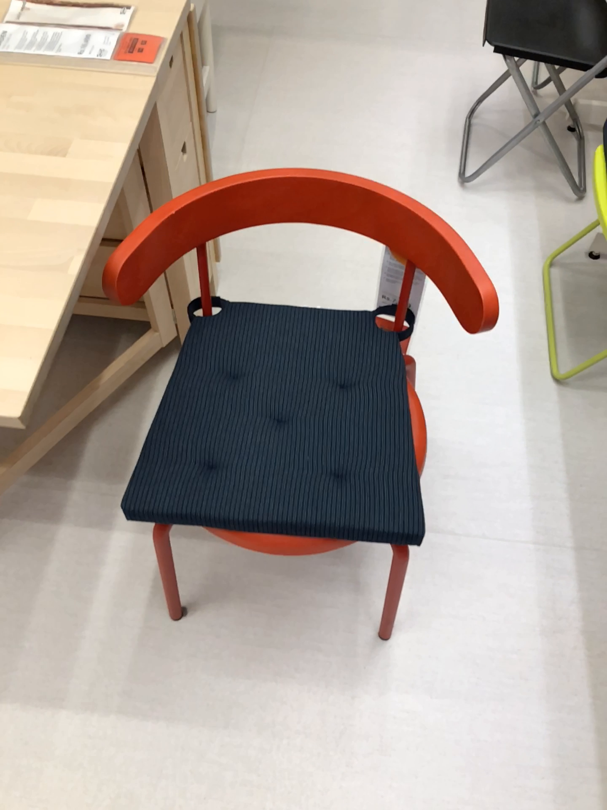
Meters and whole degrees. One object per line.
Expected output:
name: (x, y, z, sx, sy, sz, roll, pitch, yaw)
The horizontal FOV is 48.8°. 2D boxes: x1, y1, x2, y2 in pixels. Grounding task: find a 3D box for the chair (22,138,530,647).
chair: (-0.018, 0.032, 1.101, 0.520, 0.677, 0.502, 5, 57, 2)
